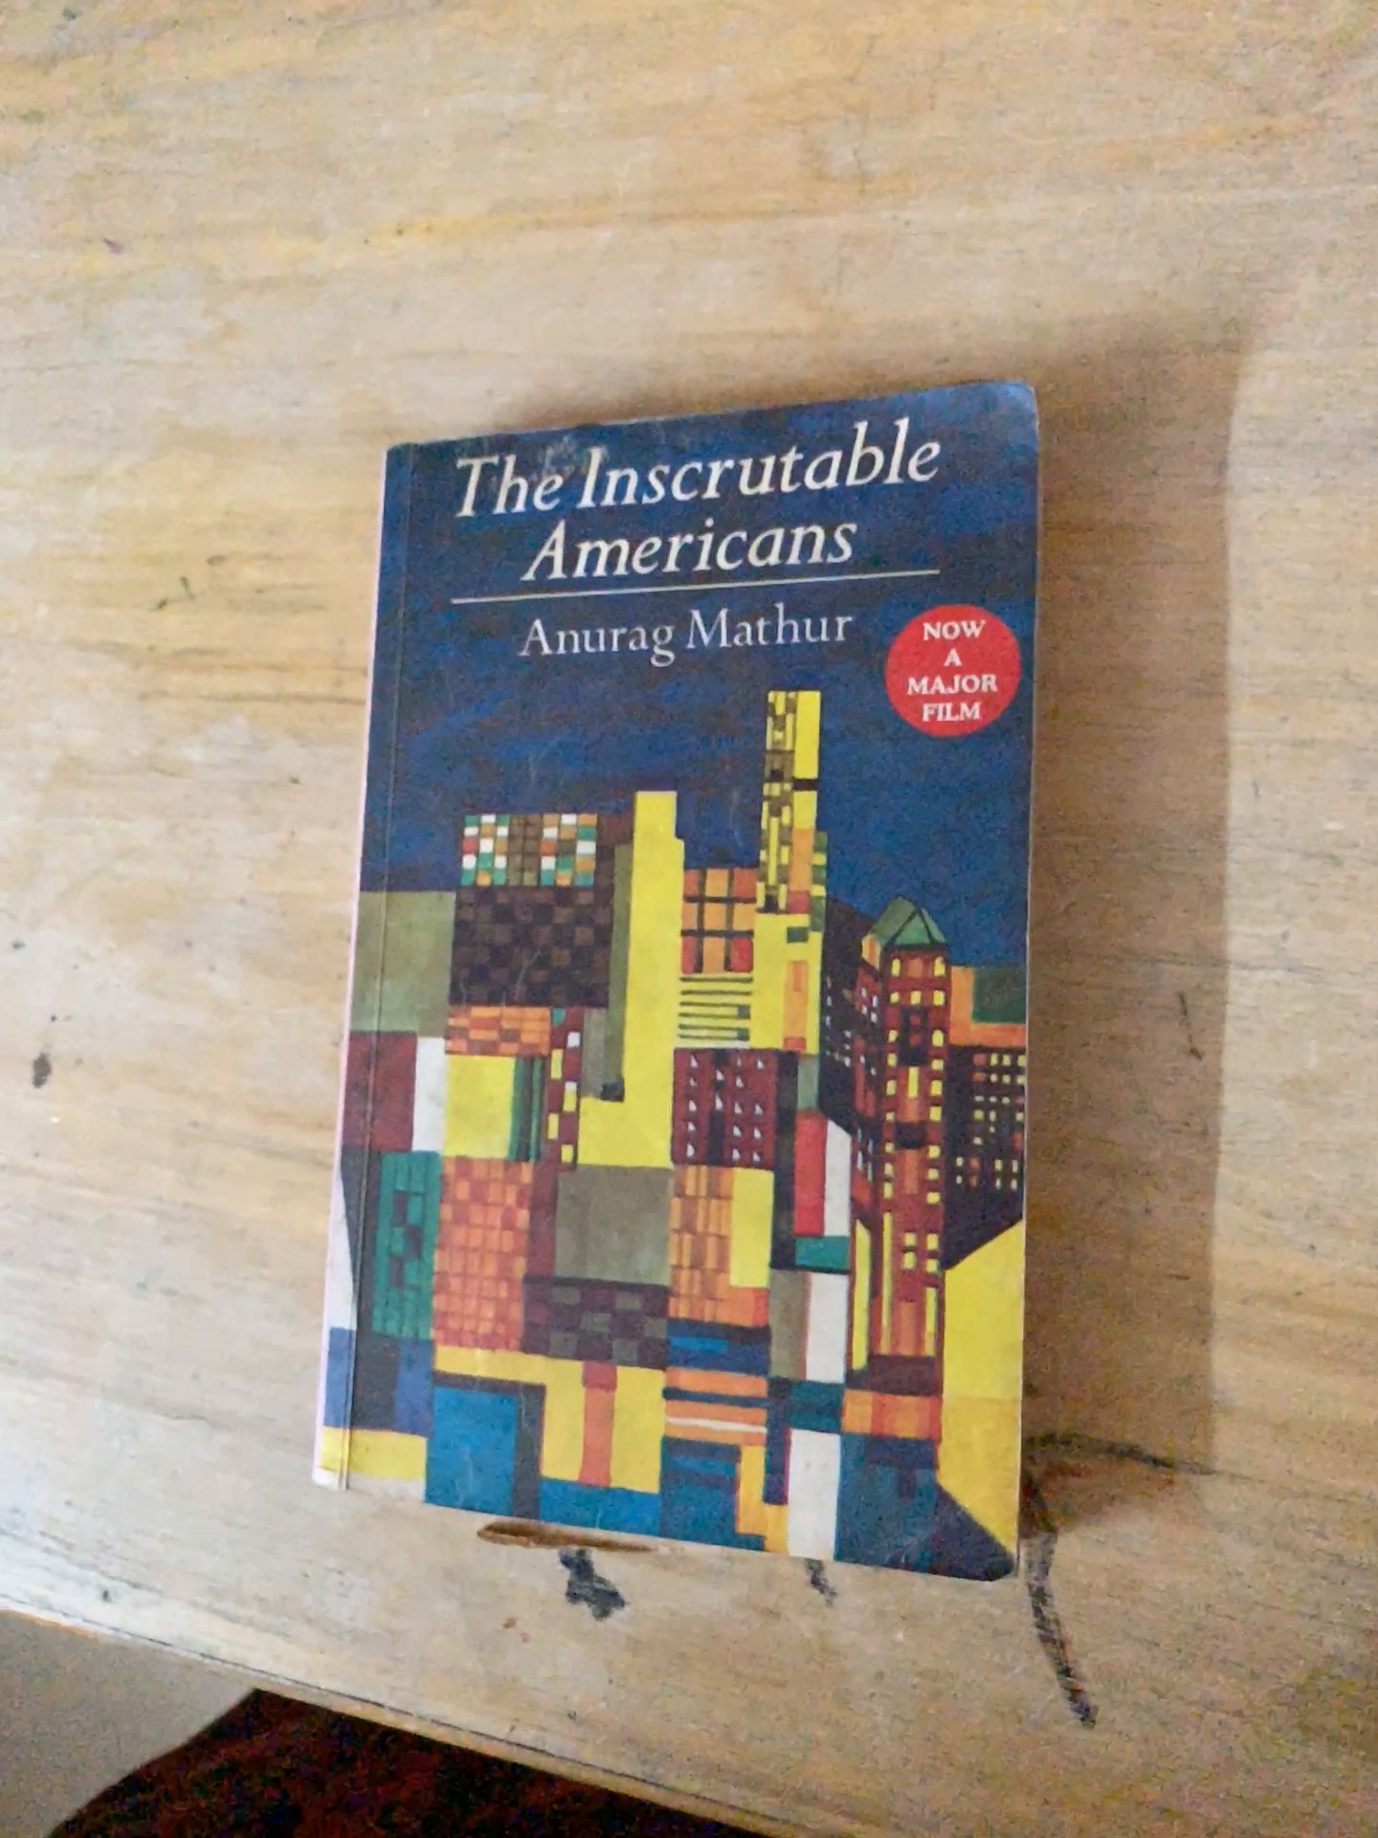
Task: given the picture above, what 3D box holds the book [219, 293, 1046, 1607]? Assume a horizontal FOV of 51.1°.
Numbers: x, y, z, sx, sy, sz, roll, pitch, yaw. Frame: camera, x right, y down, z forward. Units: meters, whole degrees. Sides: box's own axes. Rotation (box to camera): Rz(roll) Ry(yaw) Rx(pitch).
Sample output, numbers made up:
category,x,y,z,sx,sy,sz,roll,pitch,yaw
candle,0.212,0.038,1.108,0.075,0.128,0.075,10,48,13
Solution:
category,x,y,z,sx,sy,sz,roll,pitch,yaw
book,-0.007,0.001,0.228,0.120,0.030,0.180,0,84,16
